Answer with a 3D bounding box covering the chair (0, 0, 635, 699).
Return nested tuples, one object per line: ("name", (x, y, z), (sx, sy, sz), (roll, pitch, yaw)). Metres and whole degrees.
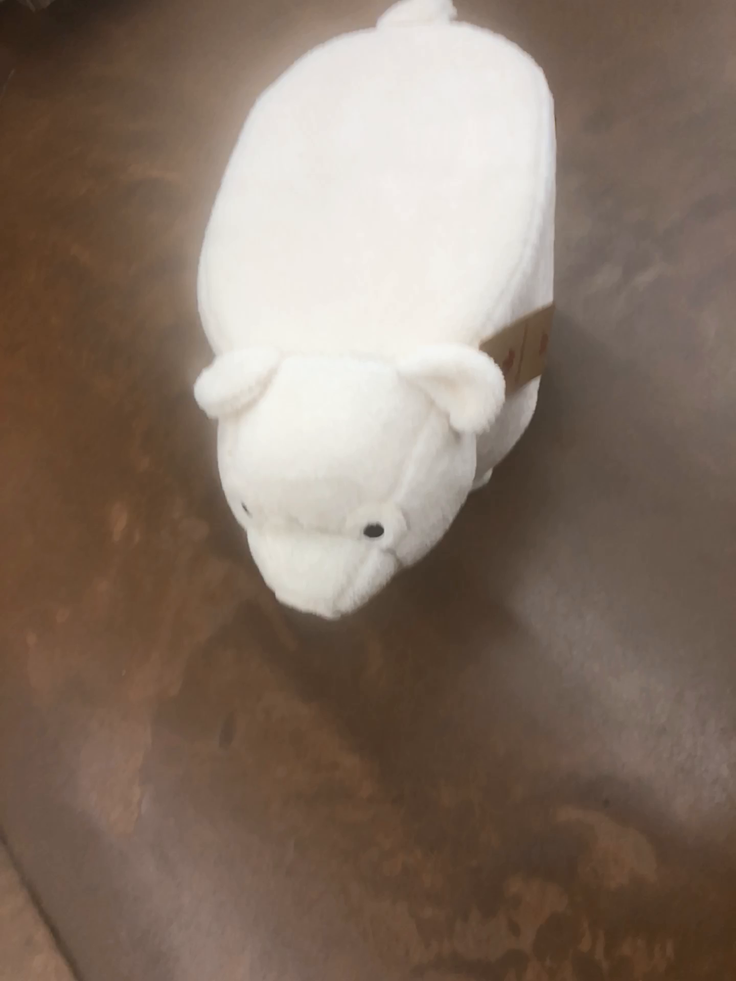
("chair", (0.007, -0.168, 0.882), (0.440, 0.349, 0.631), (8, 67, 17))
